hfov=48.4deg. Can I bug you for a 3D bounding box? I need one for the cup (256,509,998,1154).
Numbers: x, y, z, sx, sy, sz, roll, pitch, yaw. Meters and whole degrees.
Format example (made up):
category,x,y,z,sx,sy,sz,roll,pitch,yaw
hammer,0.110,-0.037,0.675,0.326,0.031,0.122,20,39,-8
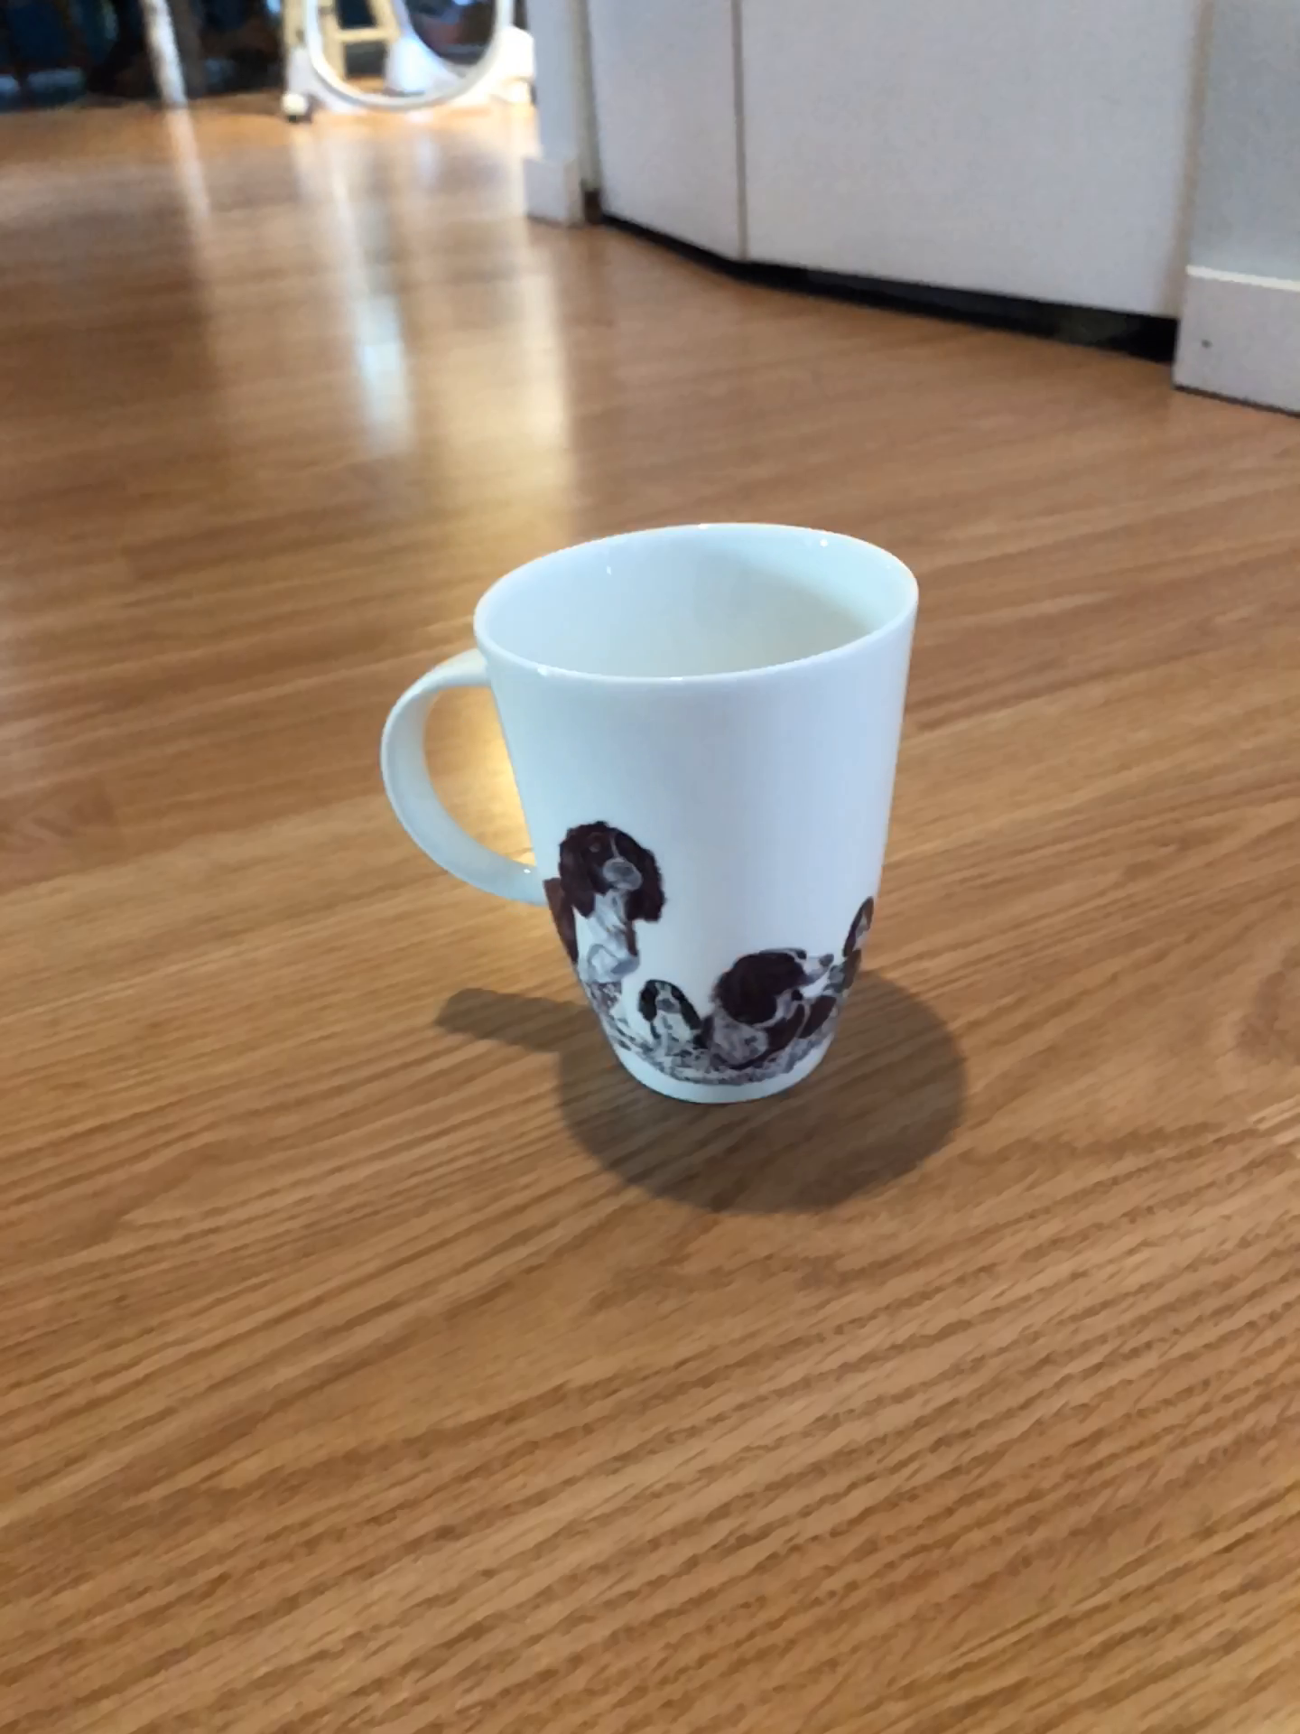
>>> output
category,x,y,z,sx,sy,sz,roll,pitch,yaw
cup,0.003,-0.015,0.302,0.120,0.090,0.090,7,32,19
